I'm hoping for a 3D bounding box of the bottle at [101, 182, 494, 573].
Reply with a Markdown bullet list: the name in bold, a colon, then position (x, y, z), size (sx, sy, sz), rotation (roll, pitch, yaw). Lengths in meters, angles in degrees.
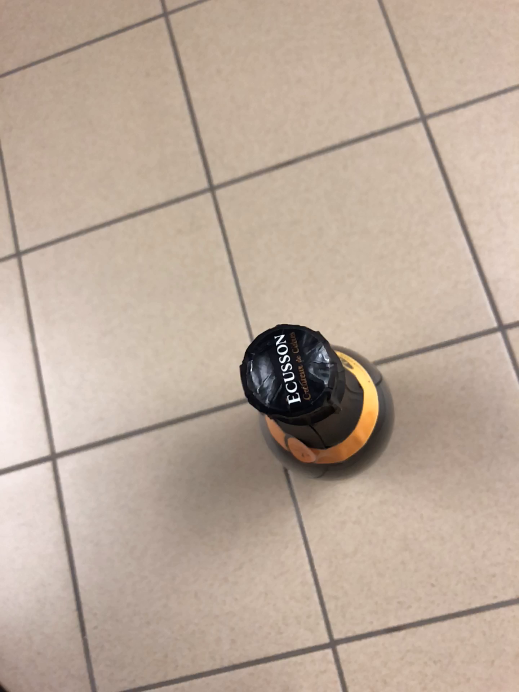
- **bottle**: position (0.036, 0.034, 0.330), size (0.090, 0.300, 0.090), rotation (-2, 79, 10)
